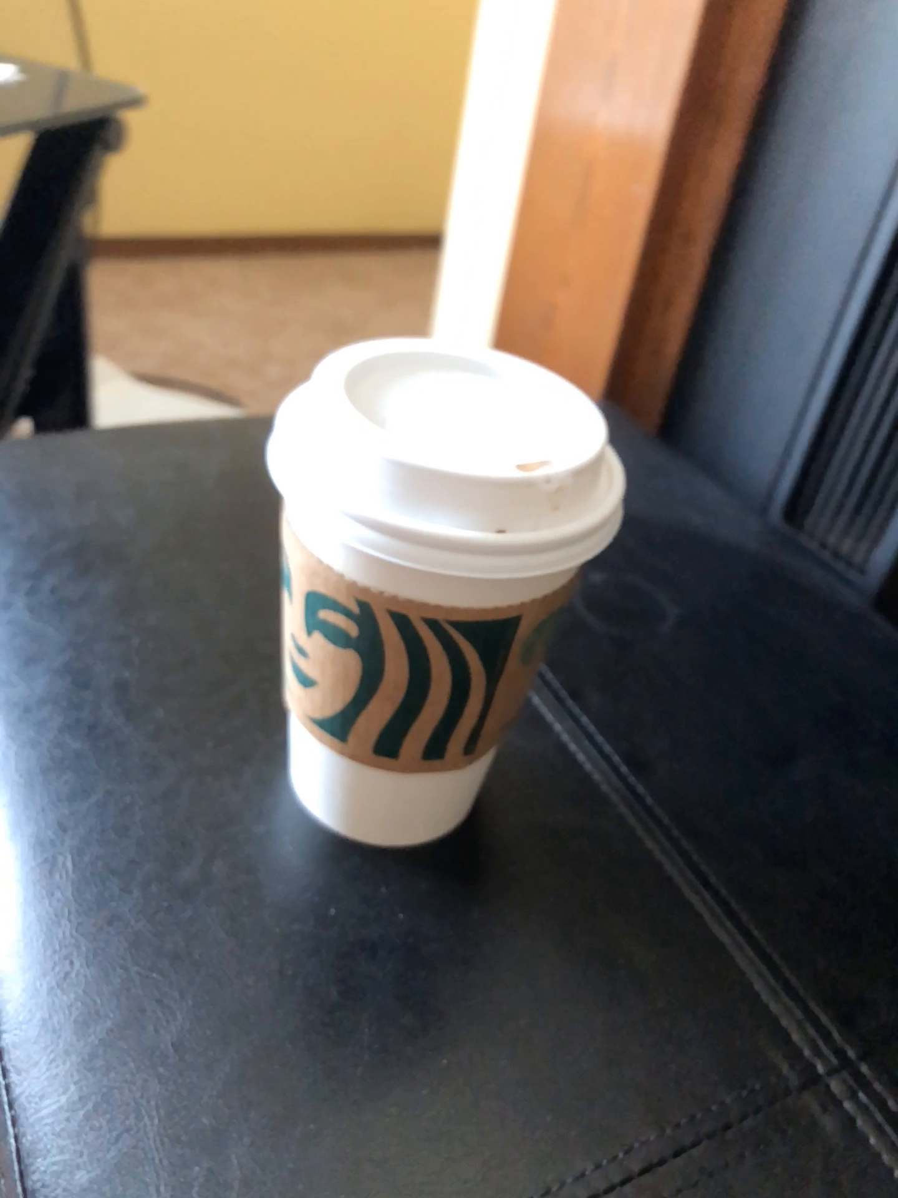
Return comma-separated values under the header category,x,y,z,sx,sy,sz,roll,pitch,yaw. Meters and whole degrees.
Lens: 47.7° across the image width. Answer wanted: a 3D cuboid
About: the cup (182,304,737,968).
category,x,y,z,sx,sy,sz,roll,pitch,yaw
cup,-0.005,0.005,0.265,0.090,0.120,0.090,7,37,-5
